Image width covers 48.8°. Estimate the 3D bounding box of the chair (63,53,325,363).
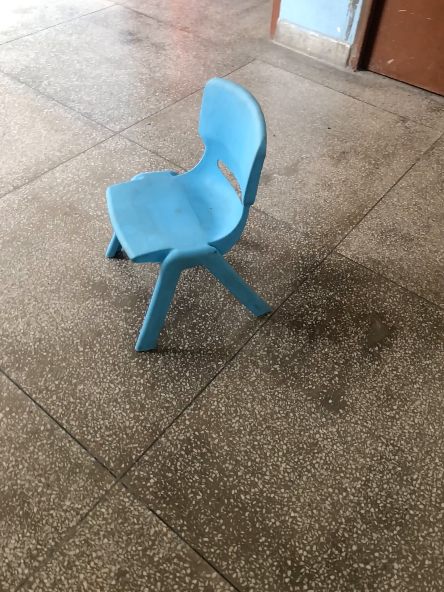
[{"bbox_3d":[-0.082,-0.192,1.100,0.390,0.498,0.381,-14,51,-15],"label":"chair"}]
